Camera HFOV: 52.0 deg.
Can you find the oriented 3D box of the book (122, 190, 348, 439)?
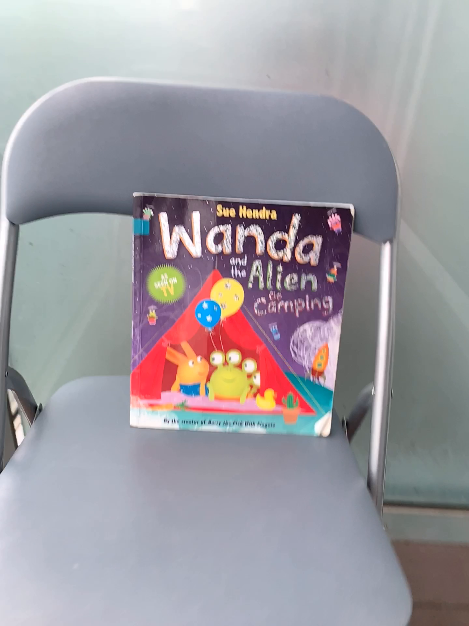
[{"bbox_3d":[-0.008,0.008,0.541,0.230,0.268,0.030,3,16,-2],"label":"book"}]
